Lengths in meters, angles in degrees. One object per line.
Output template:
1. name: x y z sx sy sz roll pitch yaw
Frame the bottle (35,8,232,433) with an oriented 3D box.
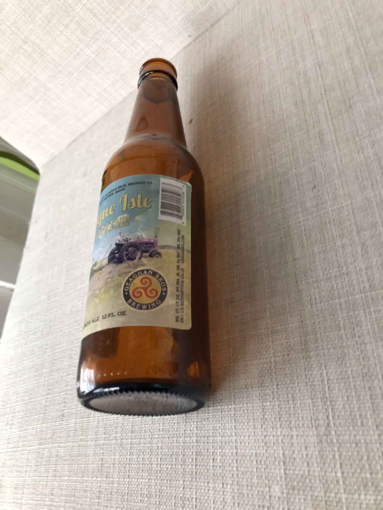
1. bottle: -0.028 -0.029 0.242 0.066 0.060 0.231 -35 46 45
